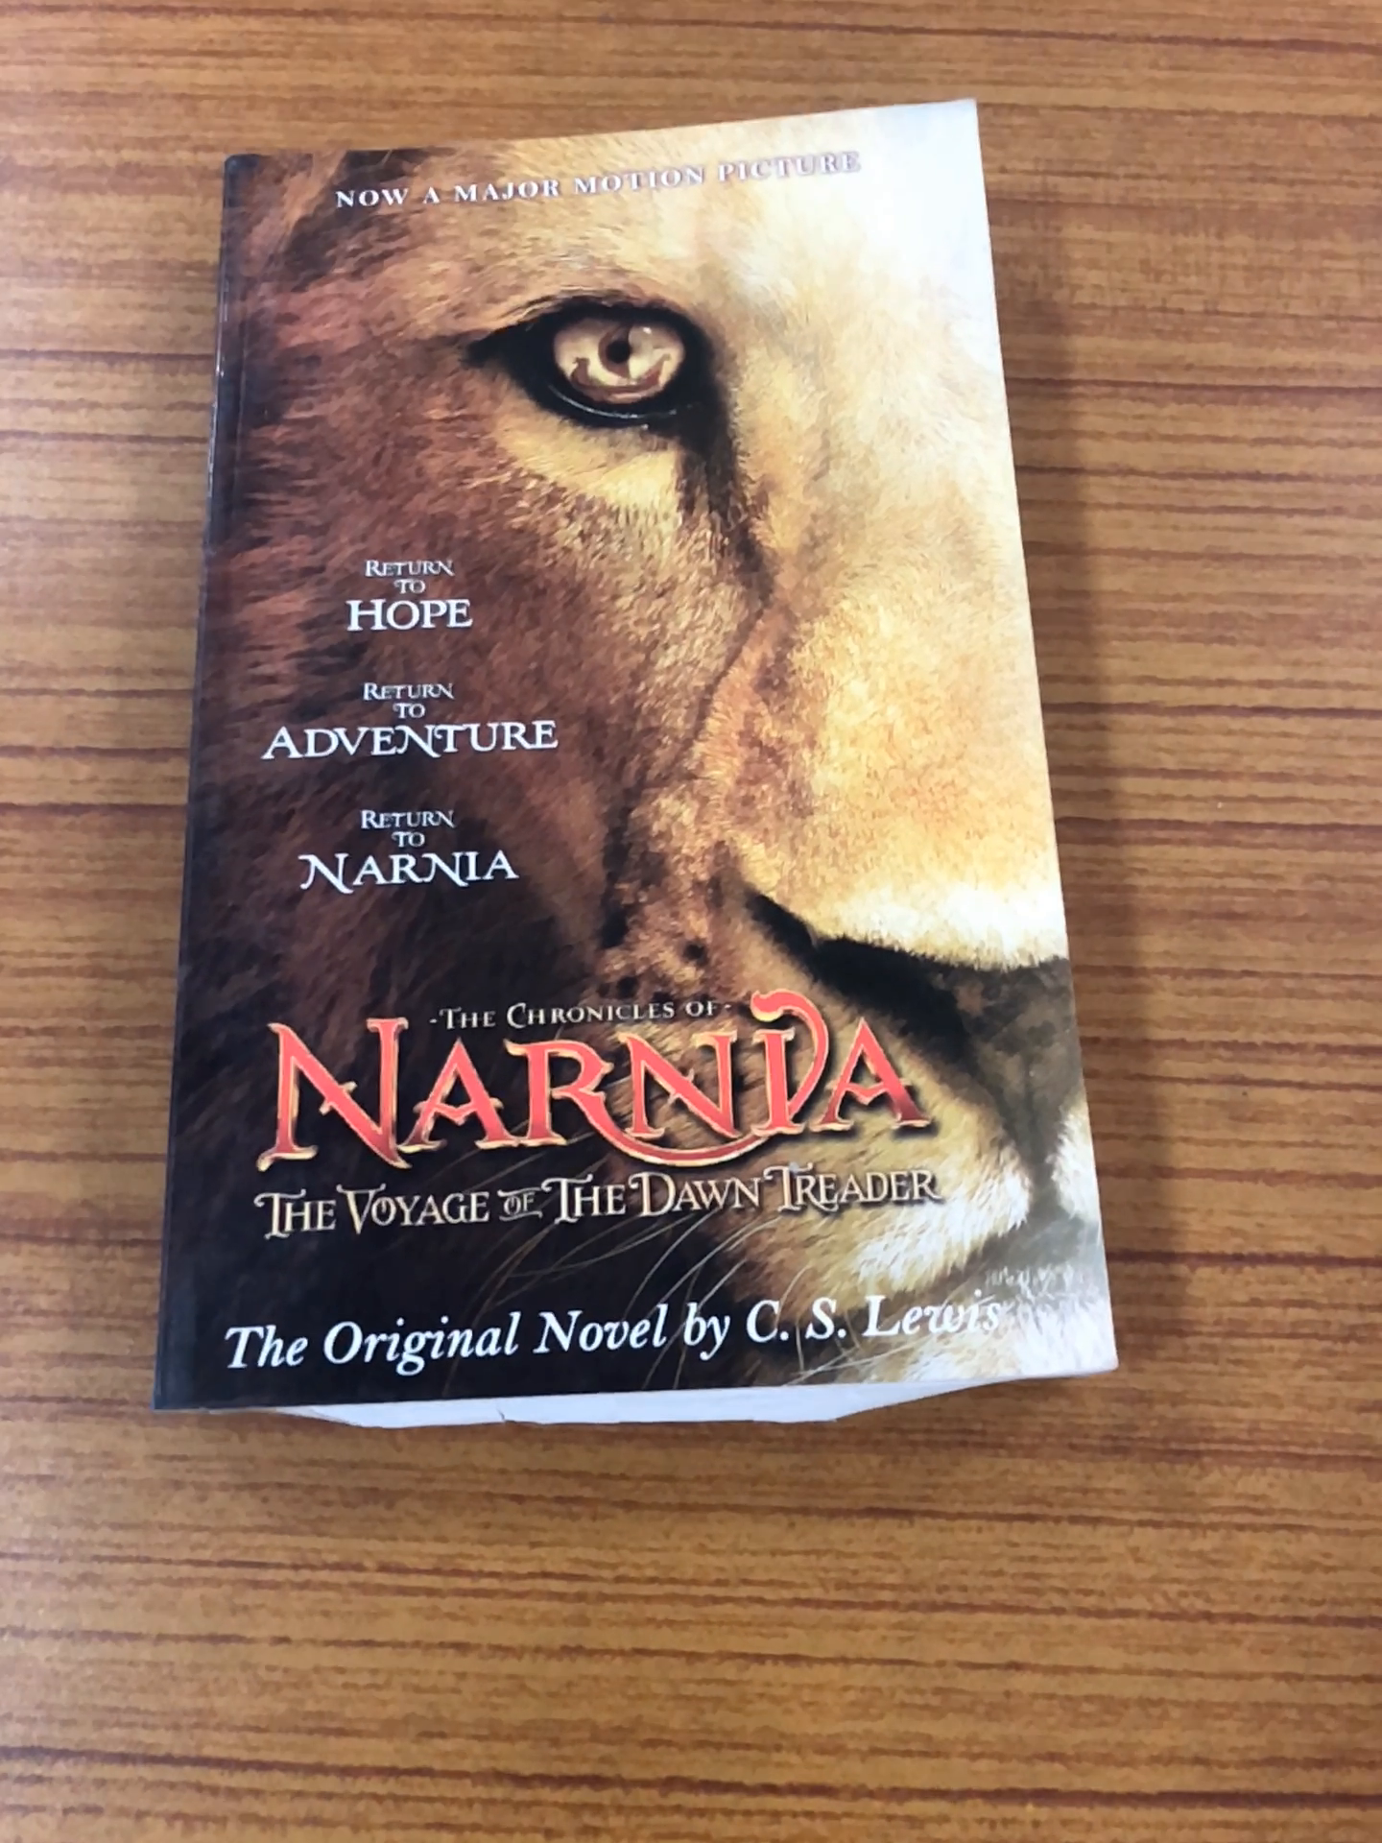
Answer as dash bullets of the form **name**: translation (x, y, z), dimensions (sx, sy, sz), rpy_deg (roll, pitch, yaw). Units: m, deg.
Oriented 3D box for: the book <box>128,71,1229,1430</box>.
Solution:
- **book**: translation (-0.005, -0.029, 0.209), dimensions (0.120, 0.030, 0.180), rpy_deg (-2, 73, -1)
